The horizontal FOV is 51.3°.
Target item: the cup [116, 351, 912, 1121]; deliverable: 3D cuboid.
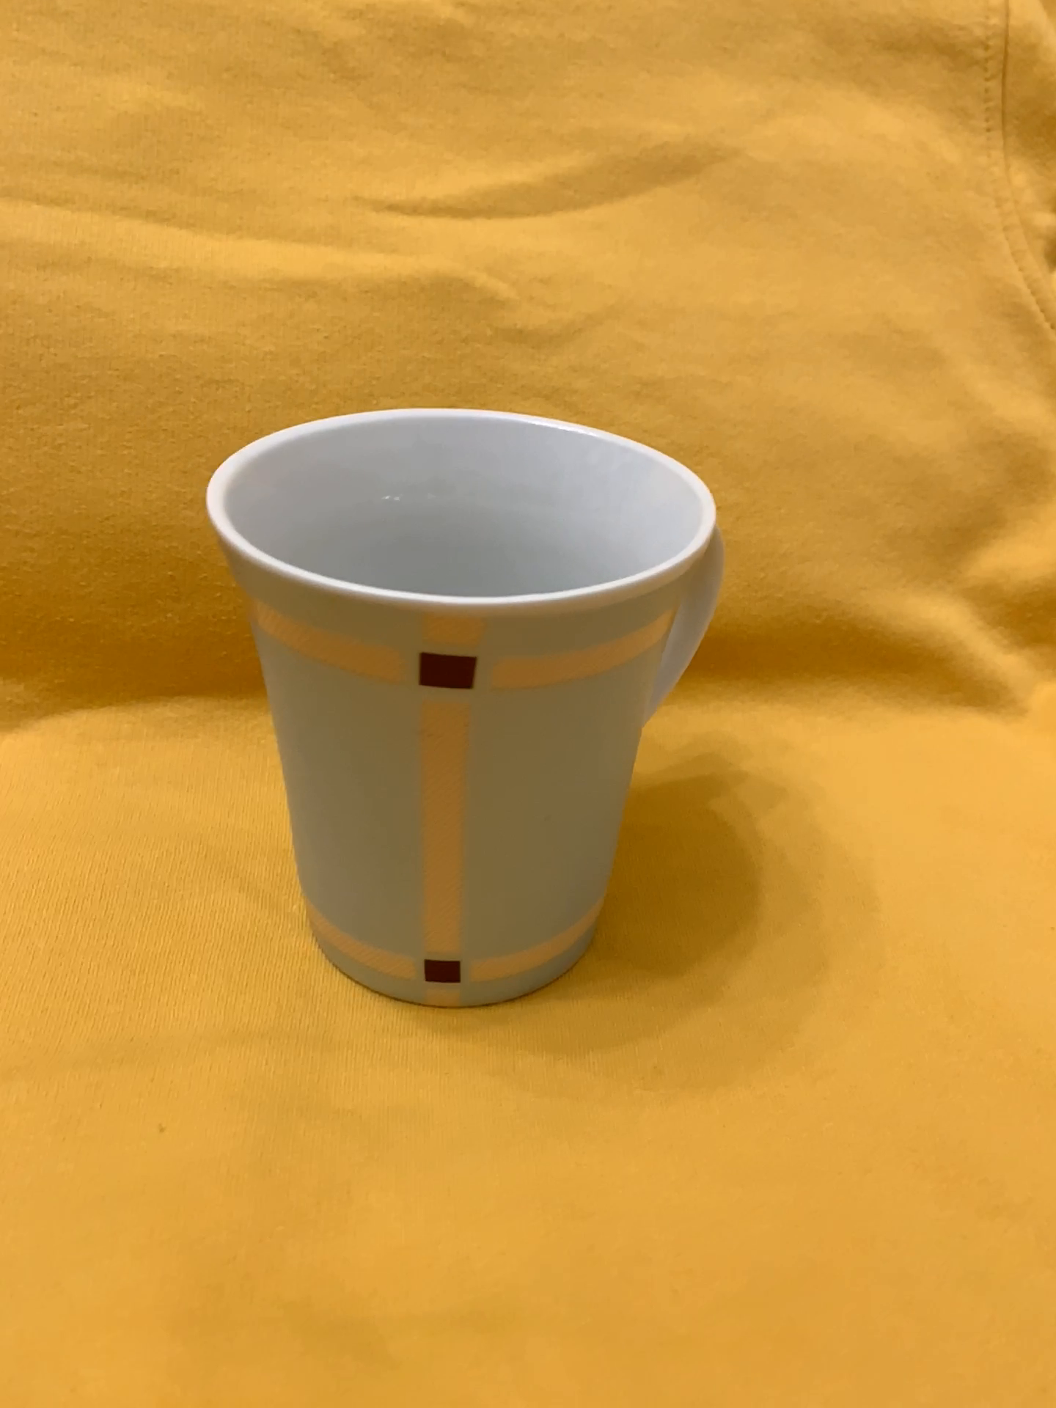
[{"bbox_3d":[-0.007,-0.005,0.241,0.120,0.103,0.099,-18,40,-31],"label":"cup"}]
